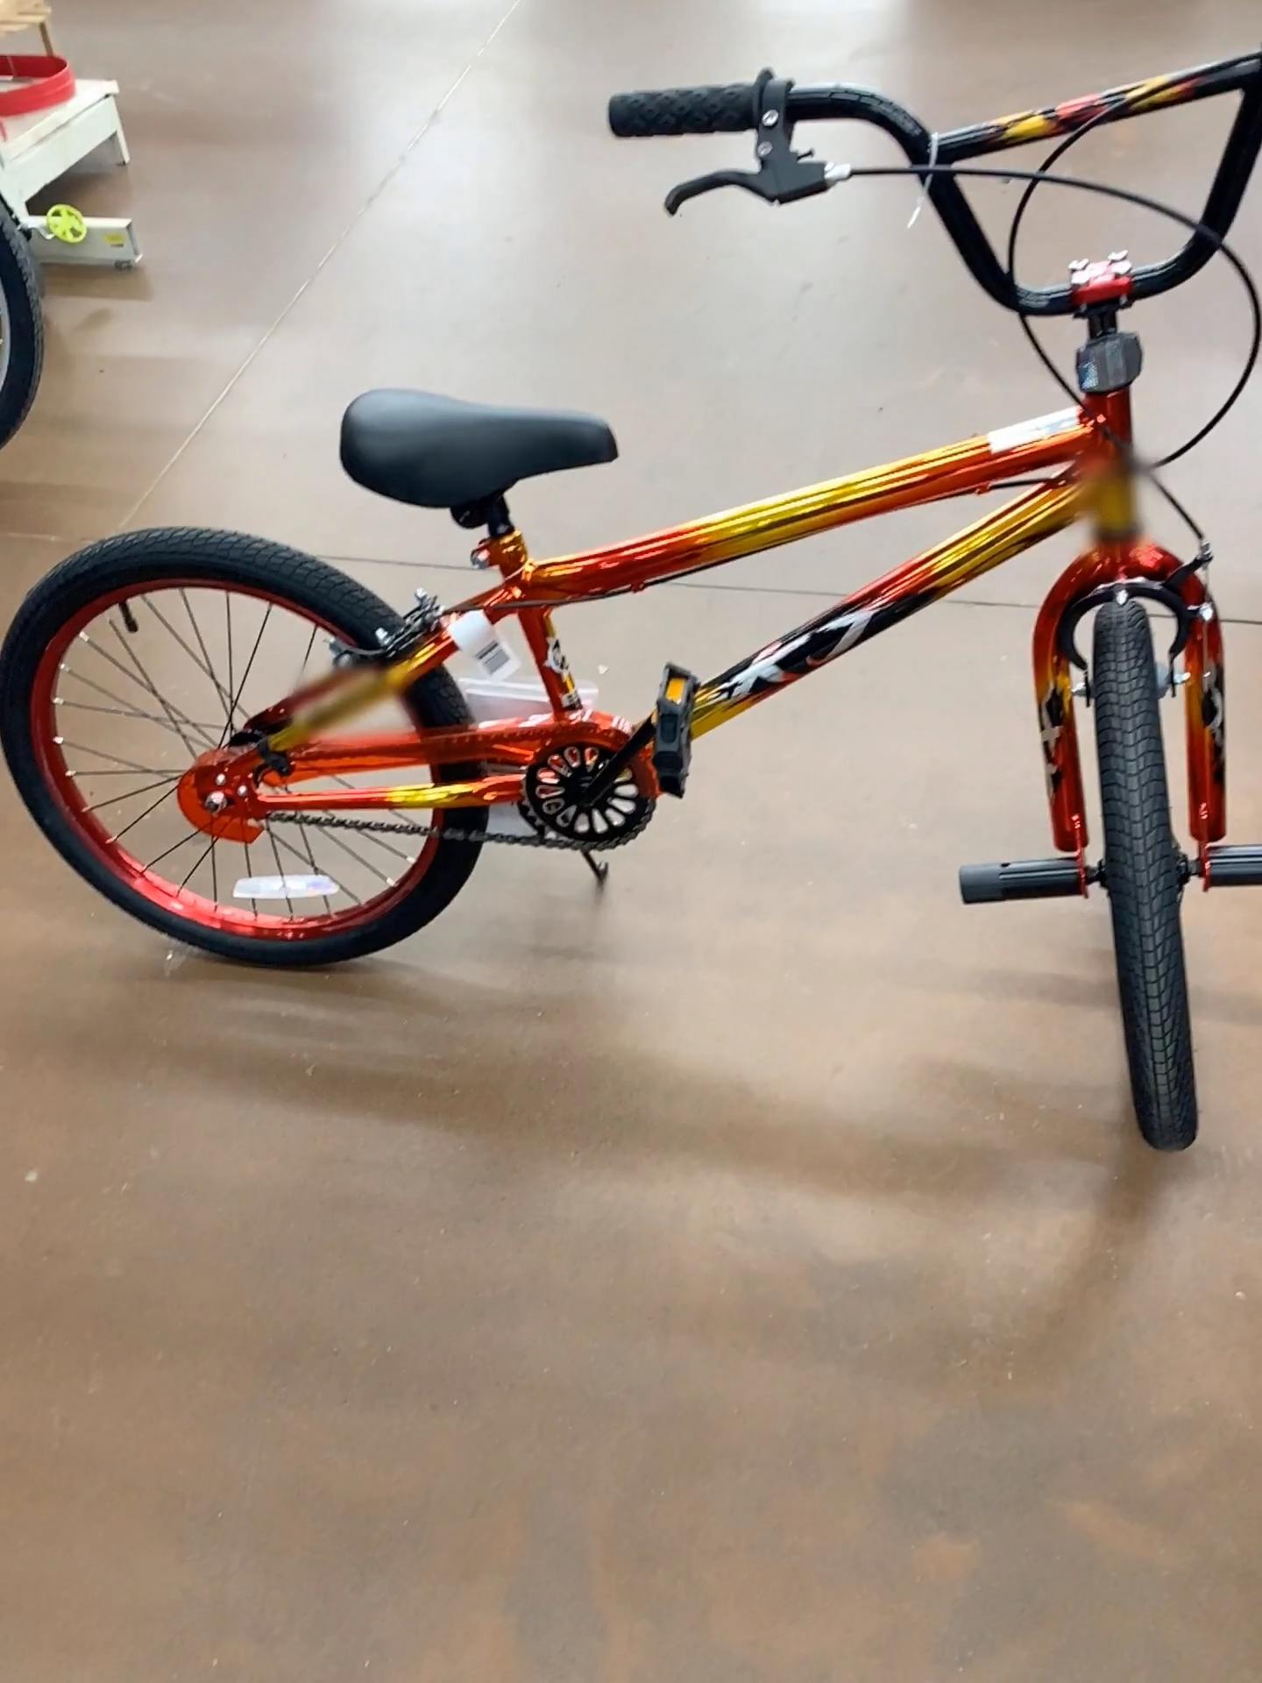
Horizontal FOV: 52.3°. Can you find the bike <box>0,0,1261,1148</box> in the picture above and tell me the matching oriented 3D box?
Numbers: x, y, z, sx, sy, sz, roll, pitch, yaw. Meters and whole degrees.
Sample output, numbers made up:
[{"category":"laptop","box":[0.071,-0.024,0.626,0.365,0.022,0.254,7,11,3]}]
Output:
[{"category":"bike","box":[-0.045,-0.345,1.138,1.122,0.926,0.706,-3,45,0]}]
